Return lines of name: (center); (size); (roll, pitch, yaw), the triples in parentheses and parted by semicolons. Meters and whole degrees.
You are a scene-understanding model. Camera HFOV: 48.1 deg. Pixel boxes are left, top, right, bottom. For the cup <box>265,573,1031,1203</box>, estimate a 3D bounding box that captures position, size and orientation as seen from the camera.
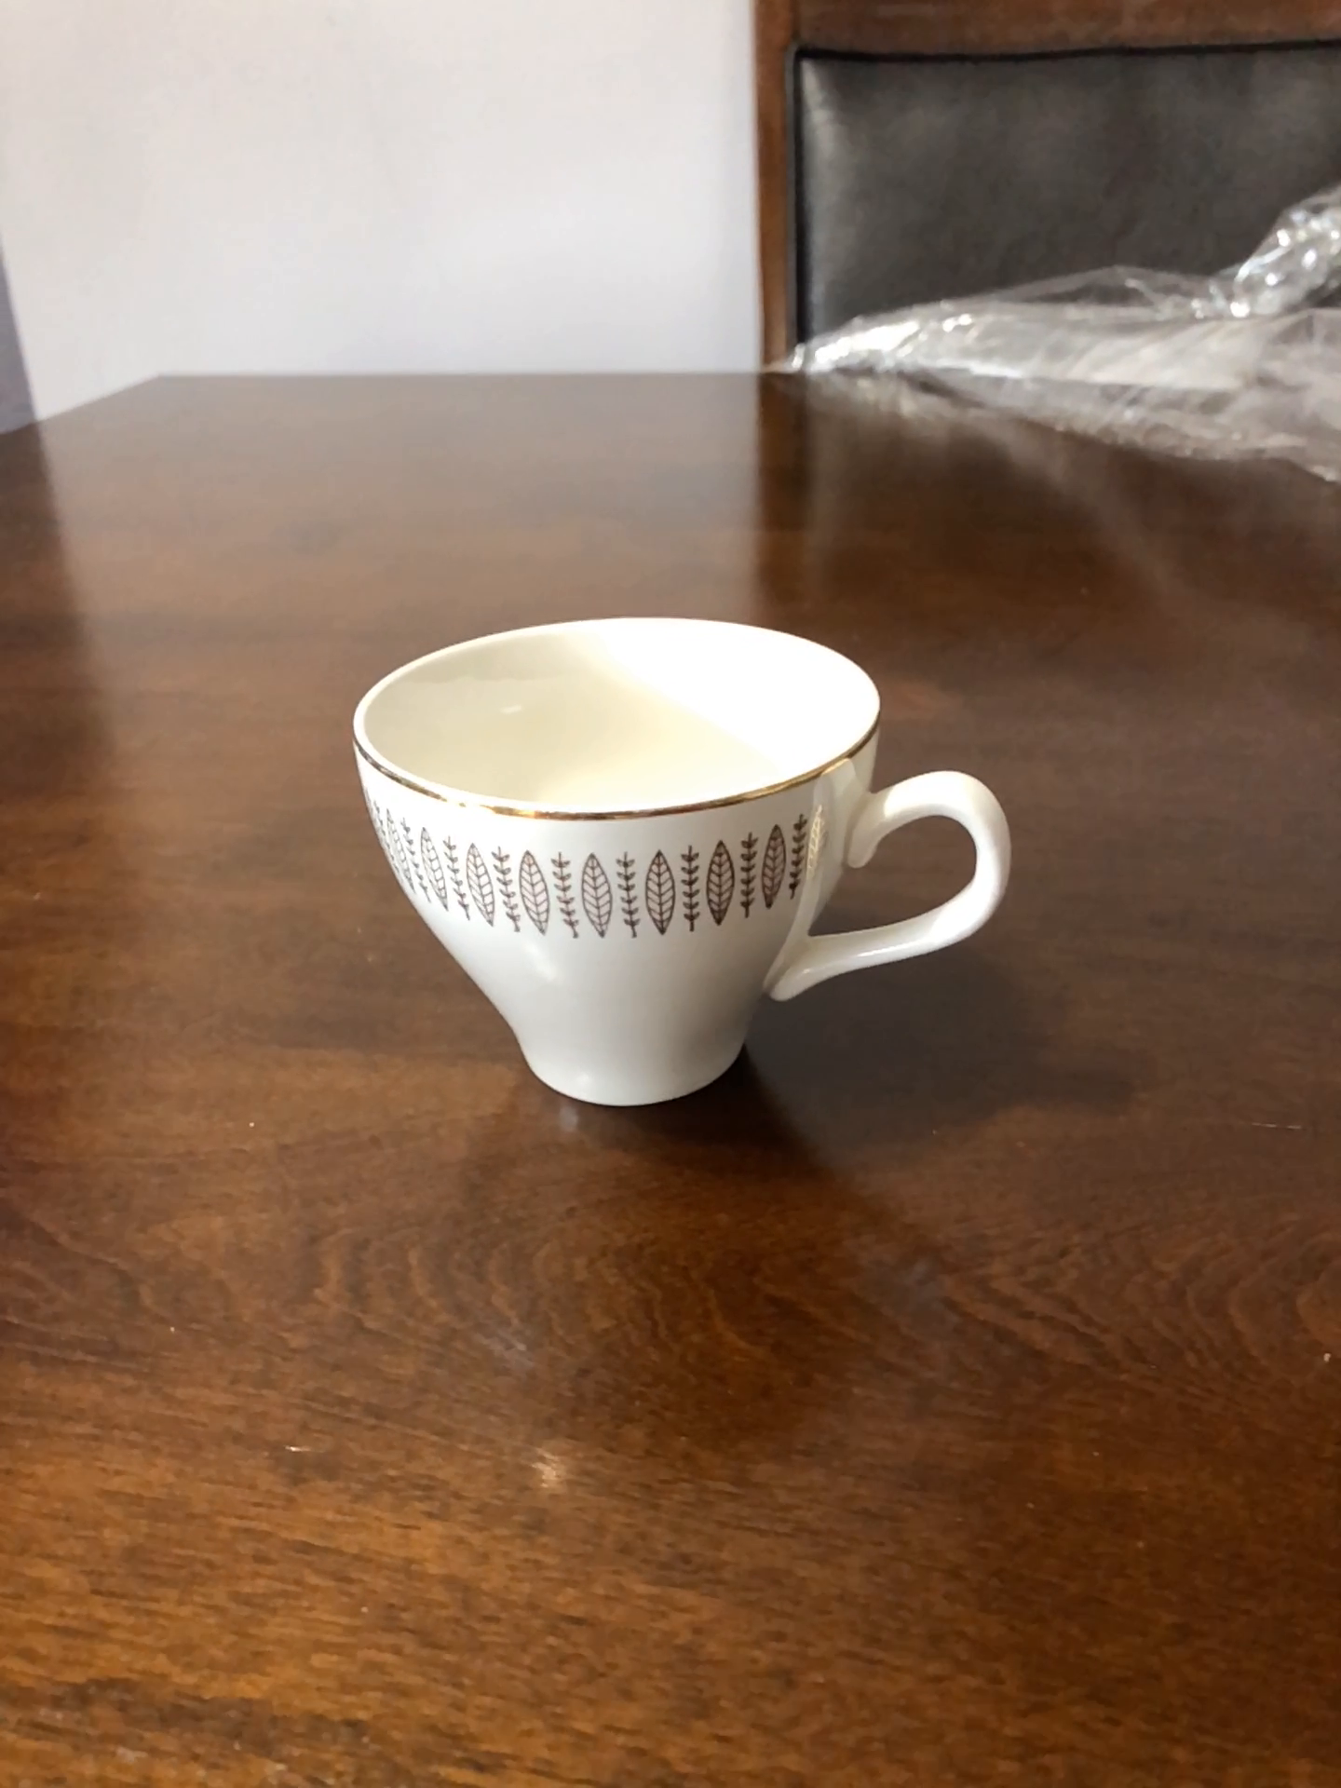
cup: (0.004, -0.008, 0.247); (0.100, 0.060, 0.090); (5, 29, 12)
